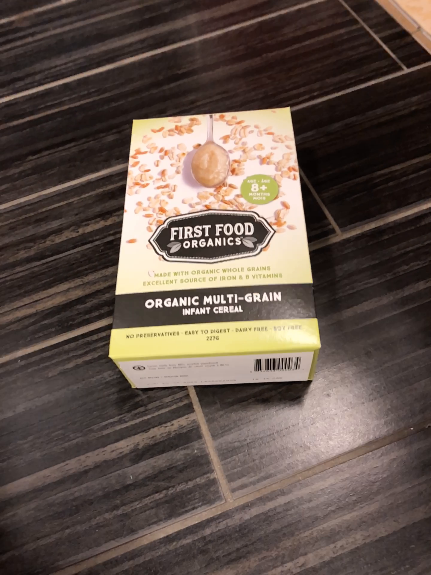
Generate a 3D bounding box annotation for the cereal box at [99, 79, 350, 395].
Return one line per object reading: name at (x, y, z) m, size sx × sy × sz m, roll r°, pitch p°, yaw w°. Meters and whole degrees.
cereal box at (0.004, -0.046, 0.351) m, size 0.140 × 0.060 × 0.231 m, roll -4°, pitch 59°, yaw 4°
